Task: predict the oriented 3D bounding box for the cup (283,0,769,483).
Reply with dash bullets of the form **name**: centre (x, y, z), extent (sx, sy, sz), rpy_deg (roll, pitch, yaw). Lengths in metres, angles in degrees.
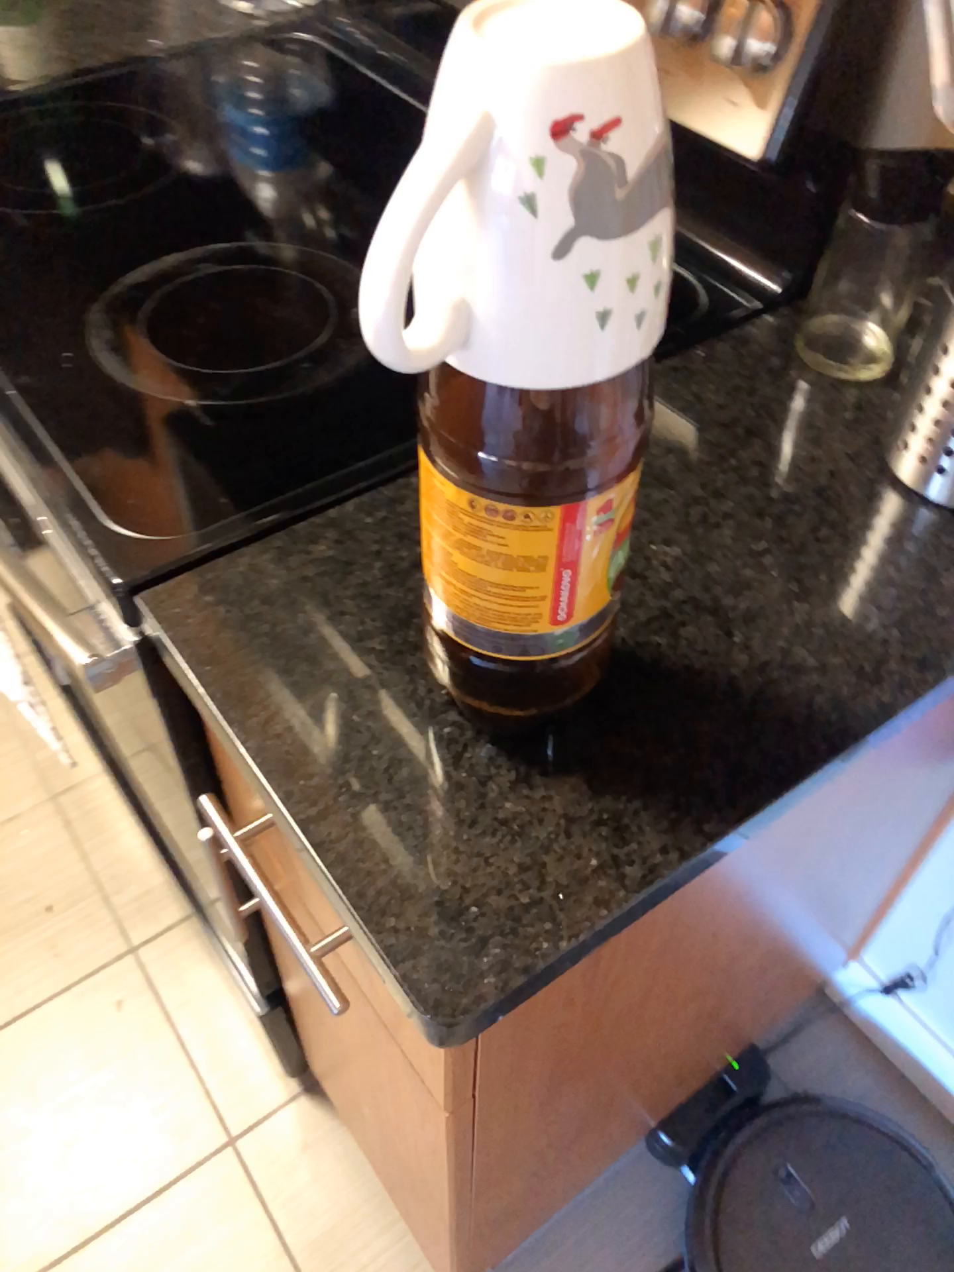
- **cup**: centre (0.019, -0.154, 0.381), extent (0.100, 0.109, 0.140), rpy_deg (26, 52, 19)
